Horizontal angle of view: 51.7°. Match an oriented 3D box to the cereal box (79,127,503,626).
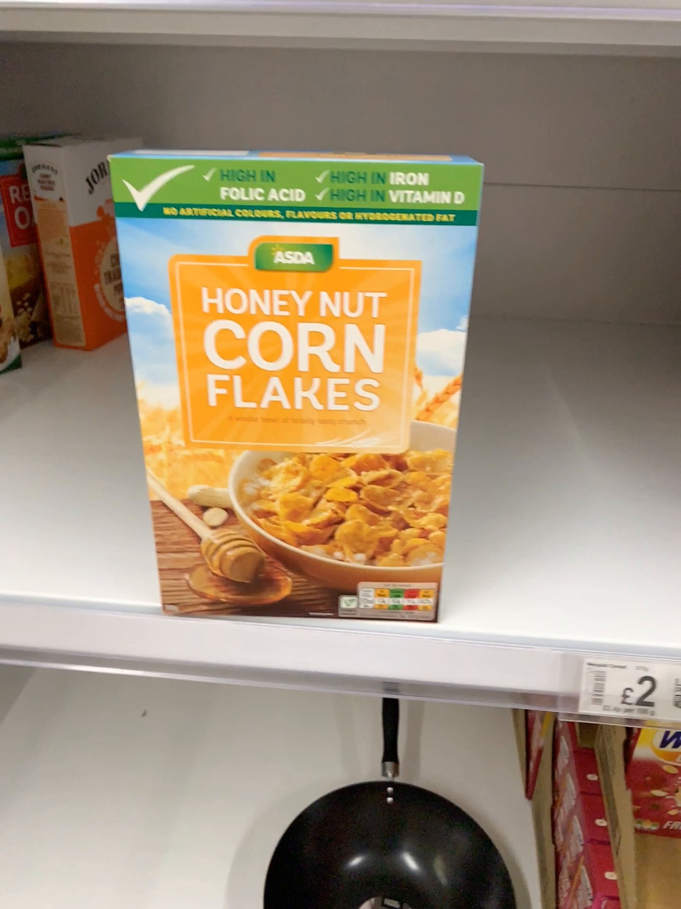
[{"bbox_3d":[-0.026,-0.036,0.428,0.200,0.287,0.071,2,27,1],"label":"cereal box"}]
